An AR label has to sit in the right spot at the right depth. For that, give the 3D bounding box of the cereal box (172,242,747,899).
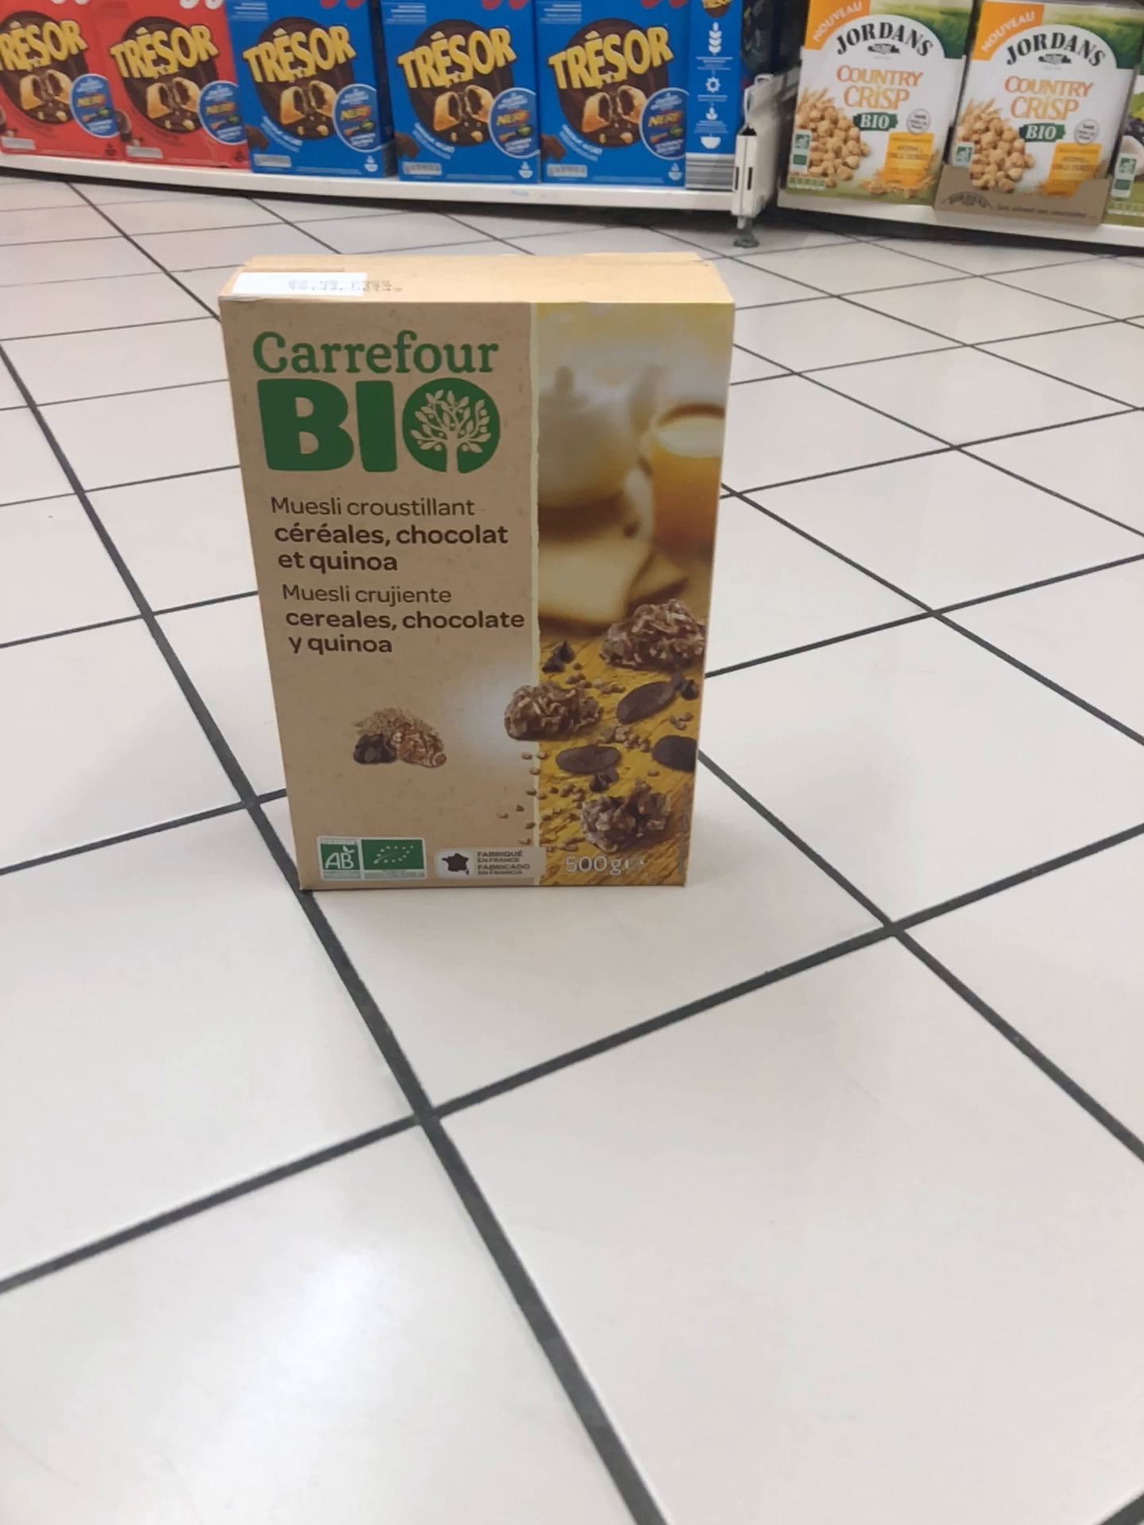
[{"bbox_3d":[-0.035,-0.063,0.463,0.170,0.229,0.070,0,33,-2],"label":"cereal box"}]
